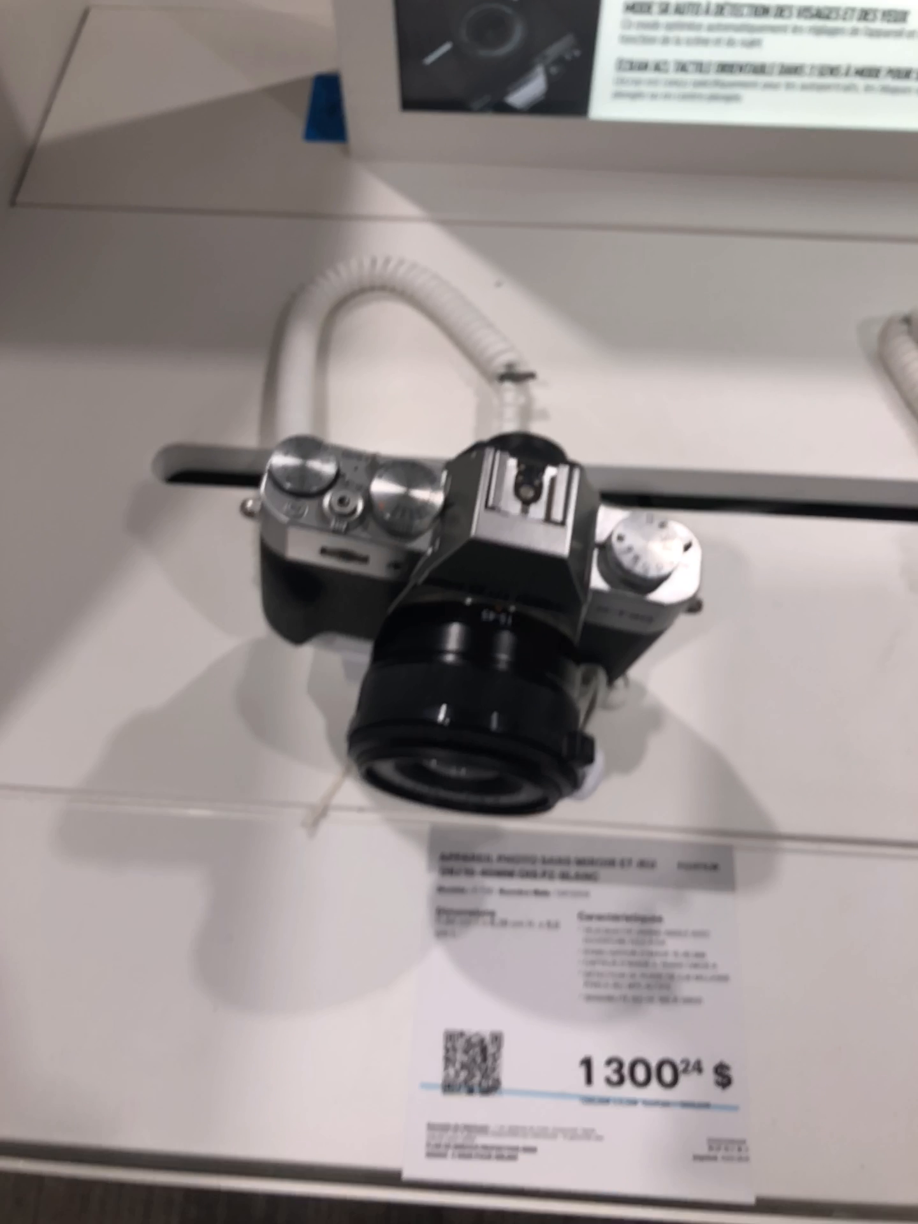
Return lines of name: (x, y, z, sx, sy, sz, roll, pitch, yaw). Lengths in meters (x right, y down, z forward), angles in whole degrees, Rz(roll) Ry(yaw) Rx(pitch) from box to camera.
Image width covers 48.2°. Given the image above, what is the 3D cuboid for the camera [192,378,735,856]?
camera: (0.003, 0.006, 0.311, 0.130, 0.090, 0.090, 12, 62, 0)
